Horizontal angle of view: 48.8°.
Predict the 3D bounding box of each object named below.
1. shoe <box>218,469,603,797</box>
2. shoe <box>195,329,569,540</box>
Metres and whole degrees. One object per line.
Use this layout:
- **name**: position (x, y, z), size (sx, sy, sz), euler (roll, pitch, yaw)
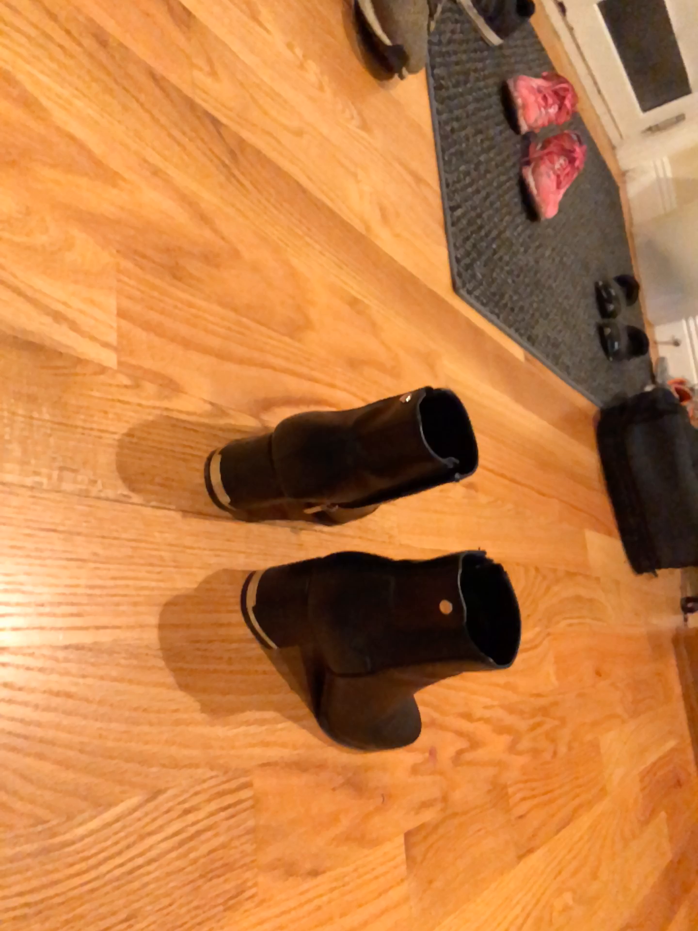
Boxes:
- **shoe**: position (0.057, 0.135, 0.555), size (0.236, 0.175, 0.095), euler (56, 36, -31)
- **shoe**: position (0.037, -0.007, 0.579), size (0.237, 0.175, 0.095), euler (7, 73, -58)
